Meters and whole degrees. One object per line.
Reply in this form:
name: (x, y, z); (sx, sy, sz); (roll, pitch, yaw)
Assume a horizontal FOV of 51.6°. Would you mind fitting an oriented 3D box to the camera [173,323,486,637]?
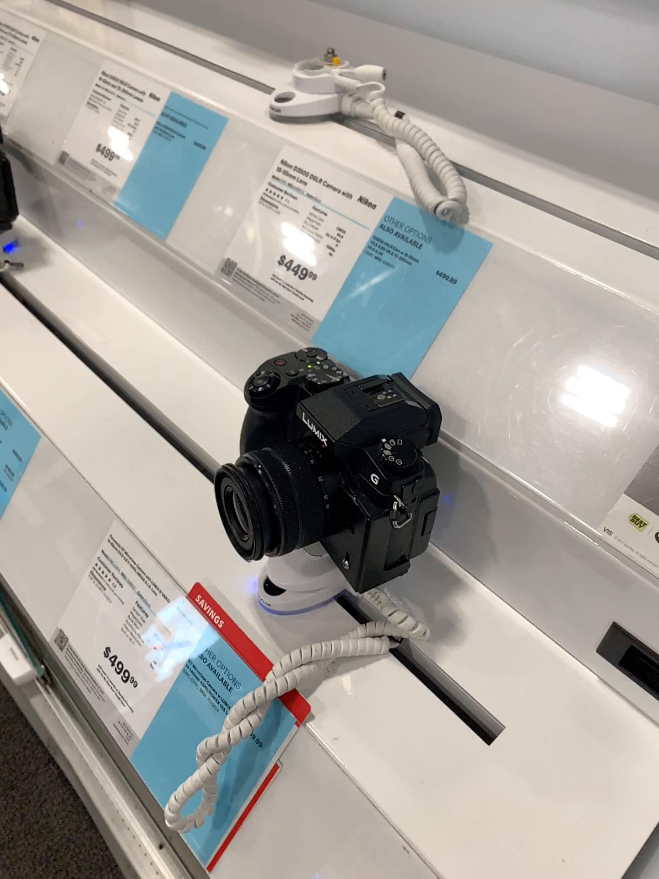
camera: (-0.004, 0.015, 0.373); (0.114, 0.080, 0.119); (-22, 49, -23)
